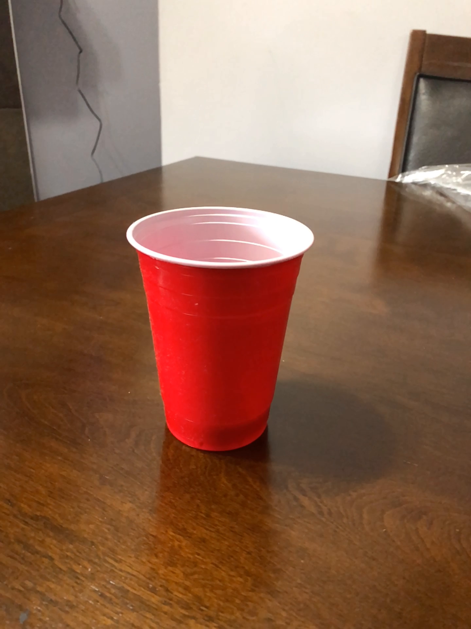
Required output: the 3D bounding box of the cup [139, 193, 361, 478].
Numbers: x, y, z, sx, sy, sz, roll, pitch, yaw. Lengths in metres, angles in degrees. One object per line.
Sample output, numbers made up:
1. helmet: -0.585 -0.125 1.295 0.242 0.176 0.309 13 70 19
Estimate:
1. cup: -0.001 0.005 0.284 0.090 0.120 0.090 2 25 -1
